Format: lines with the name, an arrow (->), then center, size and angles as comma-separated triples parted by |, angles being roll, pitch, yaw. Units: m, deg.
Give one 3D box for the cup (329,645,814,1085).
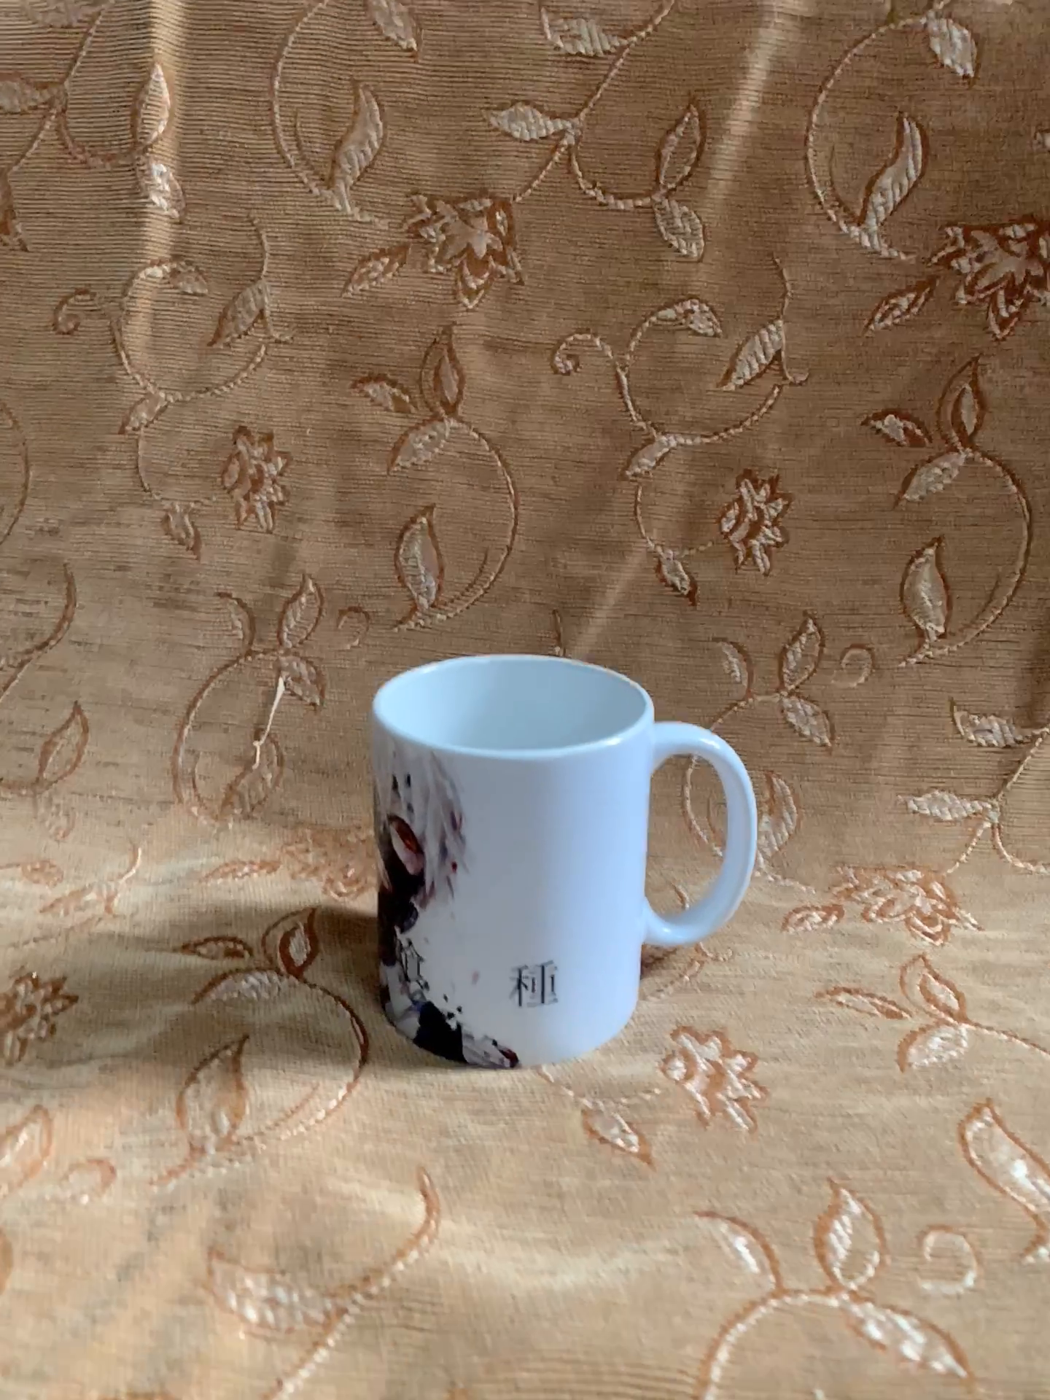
cup -> 0.010, 0.045, 0.321 | 0.120, 0.102, 0.080 | 0, 20, -2
